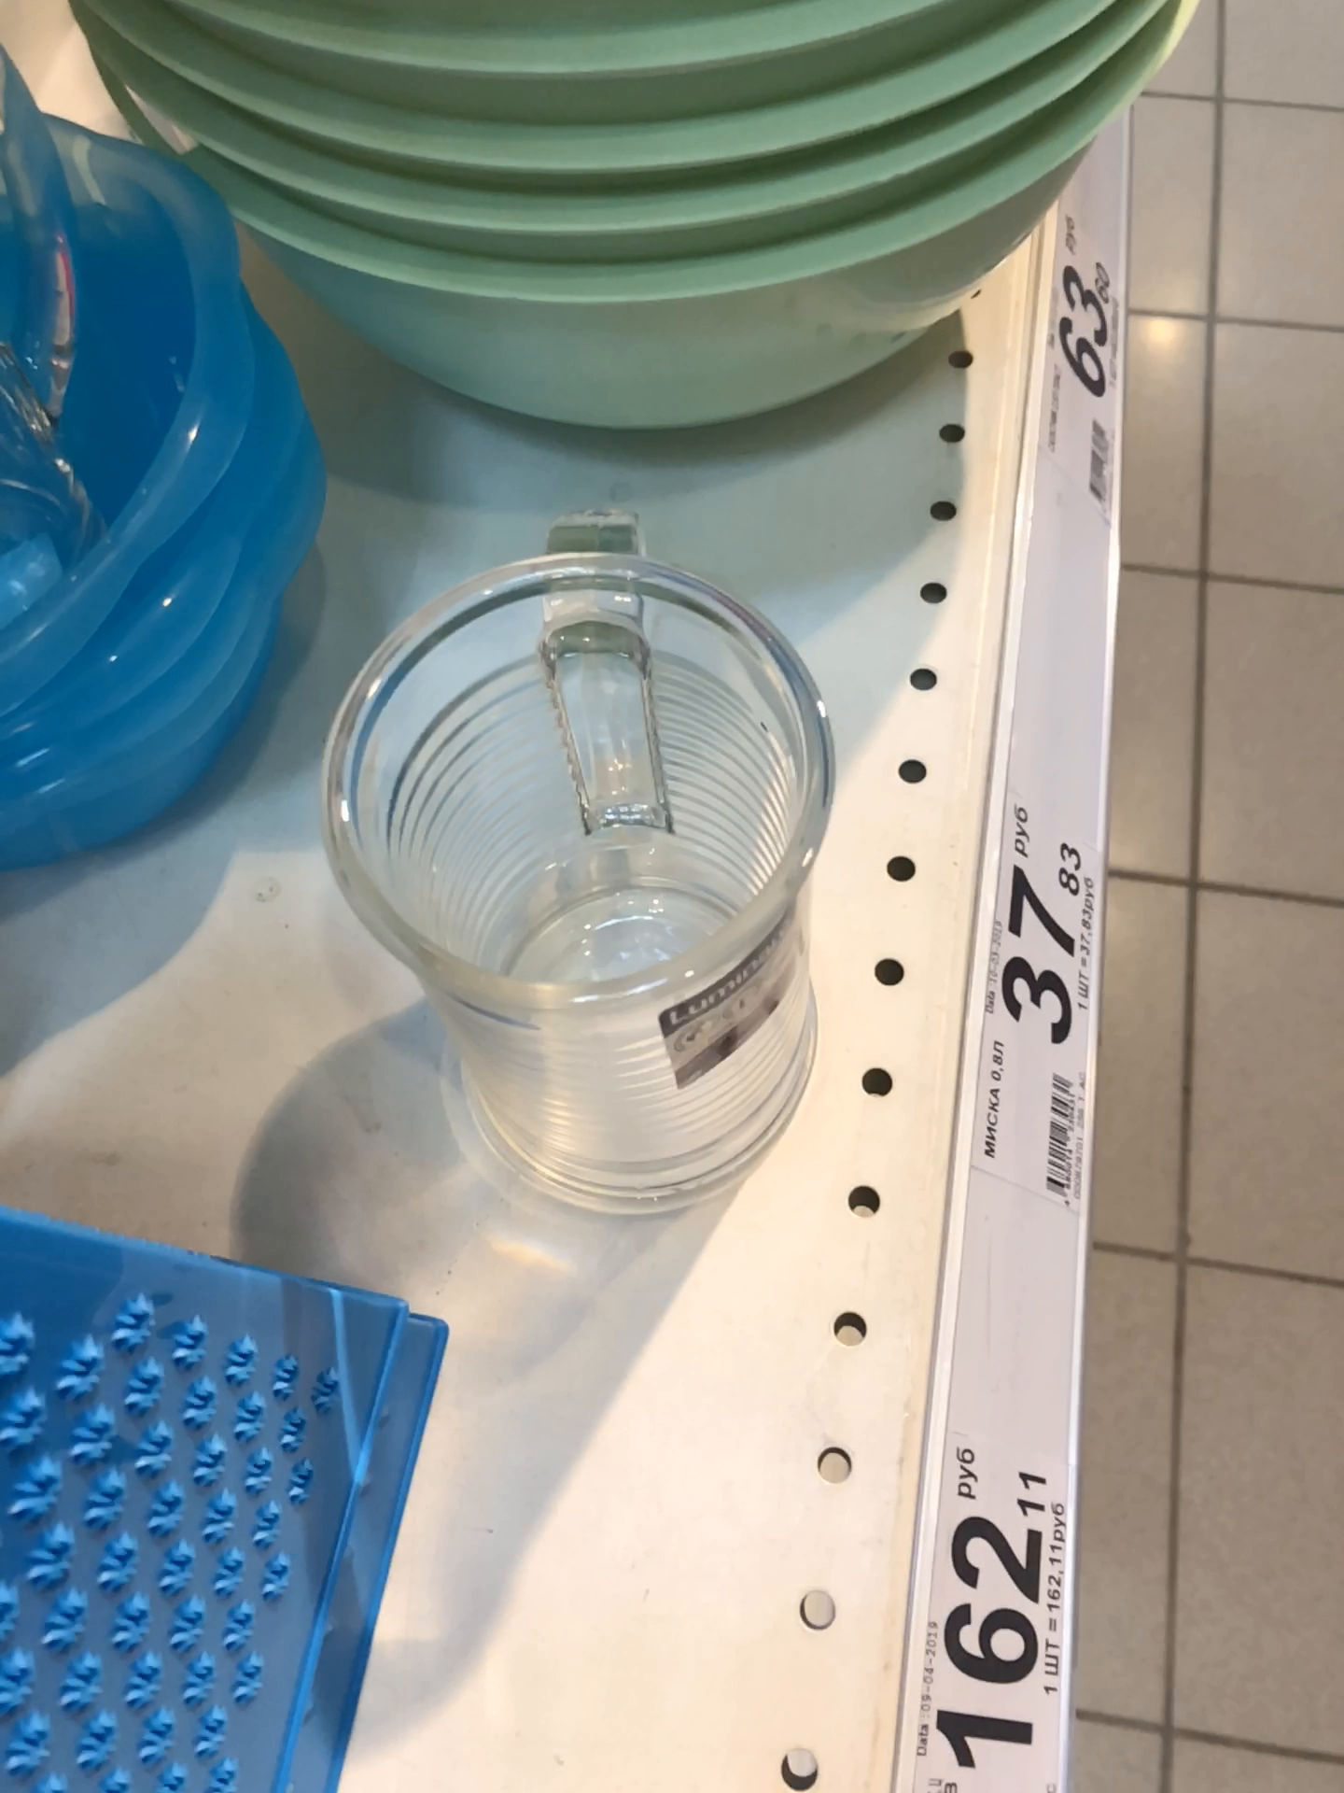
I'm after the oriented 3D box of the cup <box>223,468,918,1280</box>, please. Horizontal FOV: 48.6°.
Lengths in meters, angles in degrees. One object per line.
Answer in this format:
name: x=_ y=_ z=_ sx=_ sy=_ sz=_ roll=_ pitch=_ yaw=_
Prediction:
cup: x=-0.008 y=0.002 z=0.262 sx=0.087 sy=0.104 sz=0.102 roll=5 pitch=66 yaw=5
